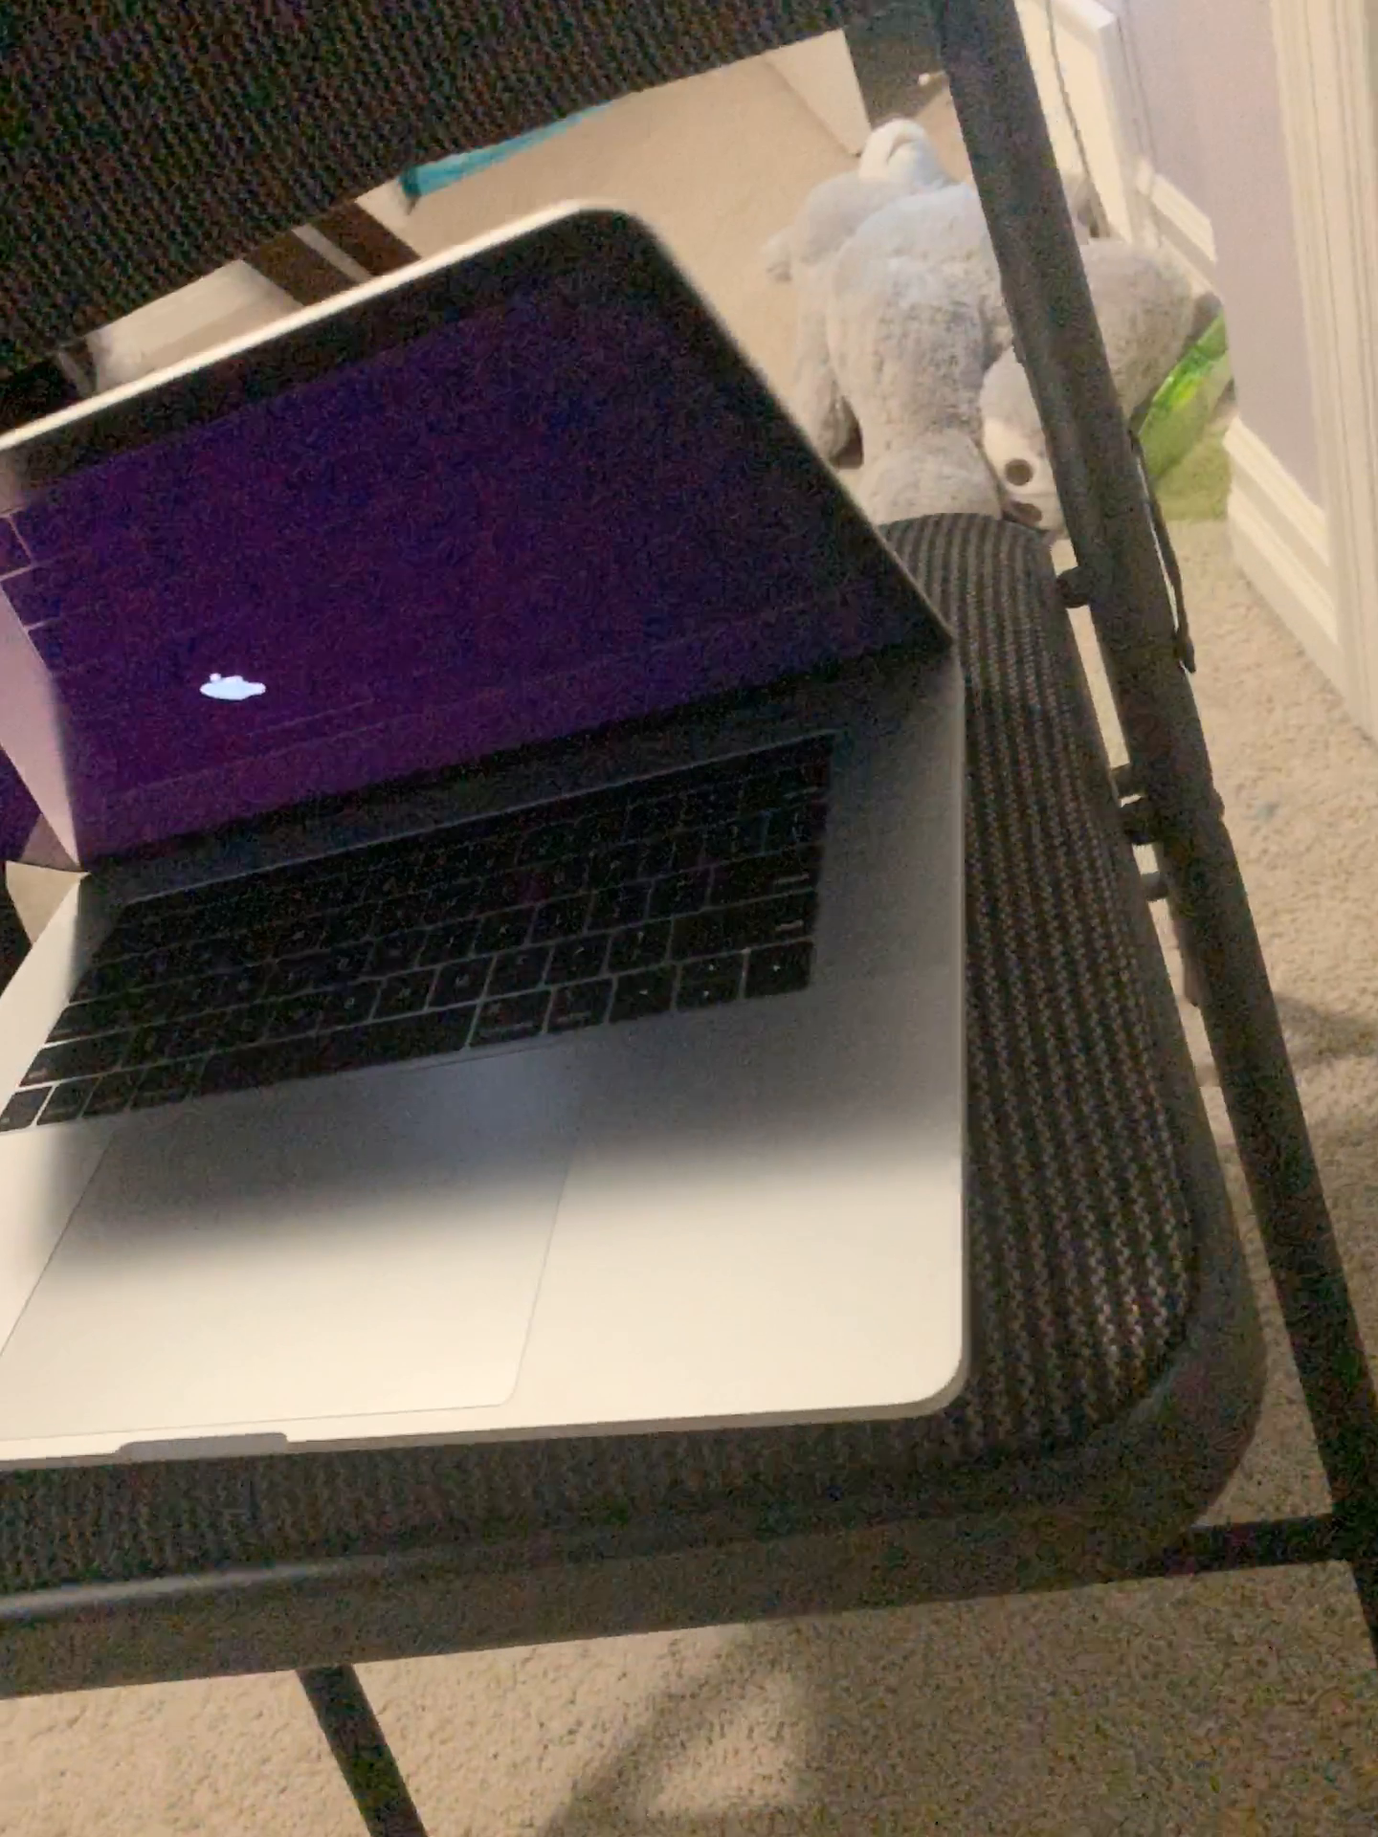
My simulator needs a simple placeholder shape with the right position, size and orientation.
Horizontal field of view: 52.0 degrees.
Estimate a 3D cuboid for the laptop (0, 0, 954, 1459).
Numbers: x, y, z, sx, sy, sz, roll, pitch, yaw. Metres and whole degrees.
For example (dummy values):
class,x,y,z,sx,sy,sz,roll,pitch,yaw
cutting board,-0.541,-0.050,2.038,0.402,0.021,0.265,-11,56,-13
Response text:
class,x,y,z,sx,sy,sz,roll,pitch,yaw
laptop,-0.126,-0.030,0.336,0.334,0.188,0.232,-12,42,22
